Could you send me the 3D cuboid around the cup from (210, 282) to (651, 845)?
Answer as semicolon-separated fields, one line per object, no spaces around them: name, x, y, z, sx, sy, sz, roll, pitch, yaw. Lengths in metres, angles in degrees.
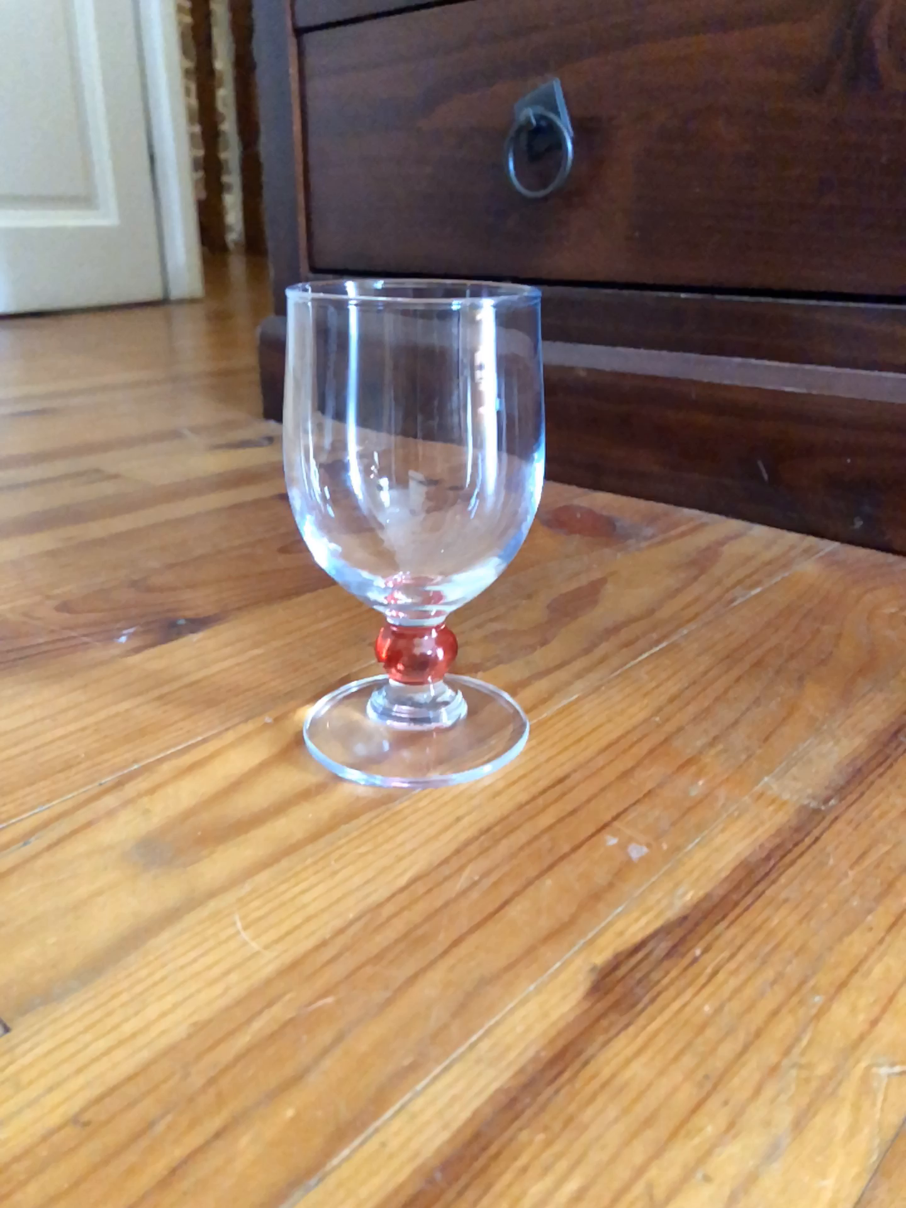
cup;-0.007;-0.021;0.292;0.088;0.132;0.083;-1;20;0
